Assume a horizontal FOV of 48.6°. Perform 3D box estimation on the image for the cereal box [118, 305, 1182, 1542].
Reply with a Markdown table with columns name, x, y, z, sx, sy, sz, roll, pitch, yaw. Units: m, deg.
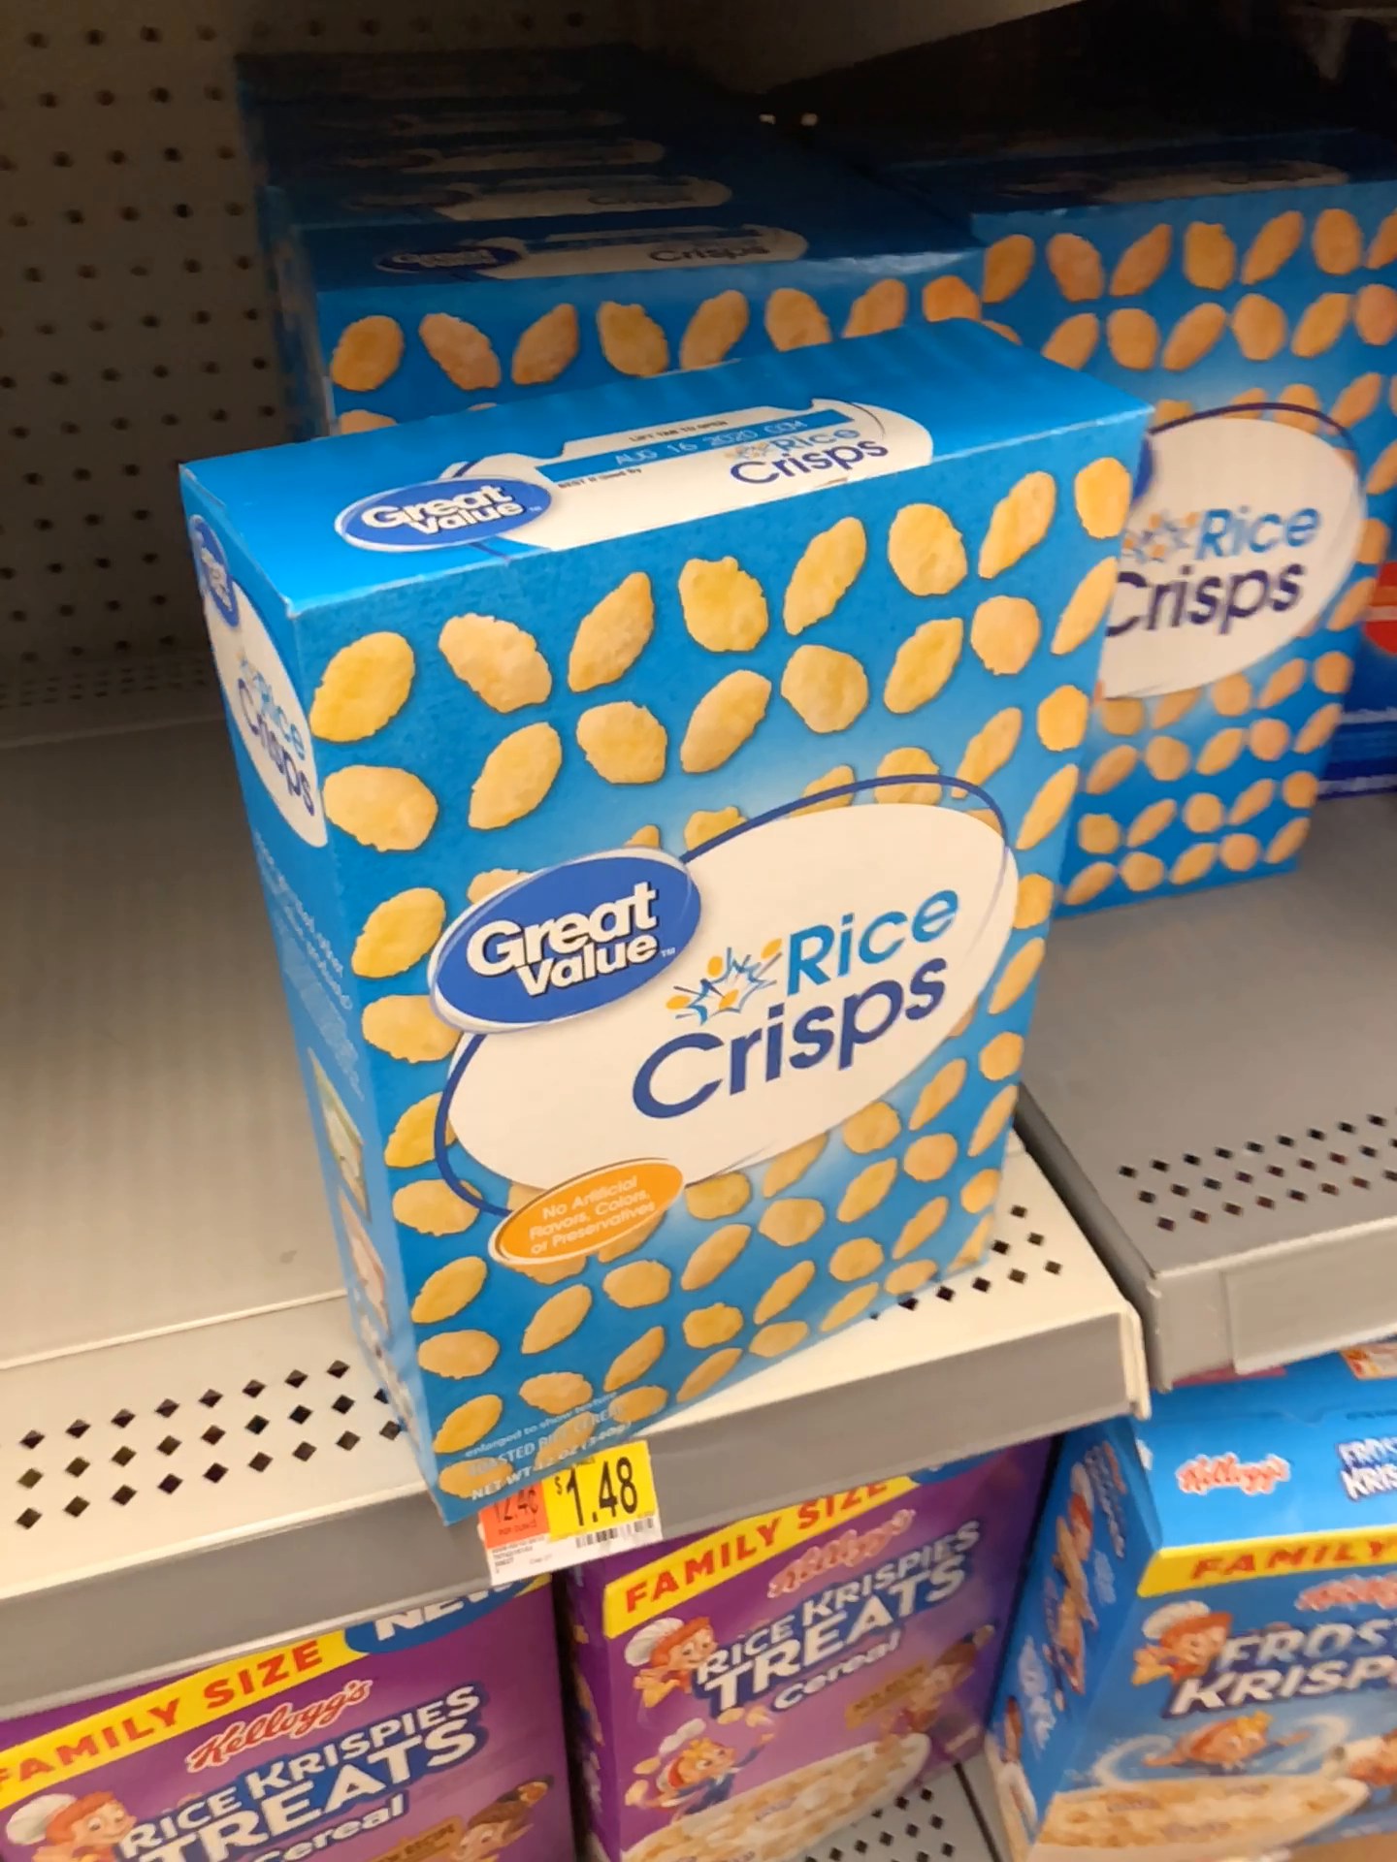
| name | x | y | z | sx | sy | sz | roll | pitch | yaw |
| --- | --- | --- | --- | --- | --- | --- | --- | --- | --- |
| cereal box | -0.005 | 0.007 | 0.389 | 0.200 | 0.269 | 0.070 | -20 | 43 | -23 |
